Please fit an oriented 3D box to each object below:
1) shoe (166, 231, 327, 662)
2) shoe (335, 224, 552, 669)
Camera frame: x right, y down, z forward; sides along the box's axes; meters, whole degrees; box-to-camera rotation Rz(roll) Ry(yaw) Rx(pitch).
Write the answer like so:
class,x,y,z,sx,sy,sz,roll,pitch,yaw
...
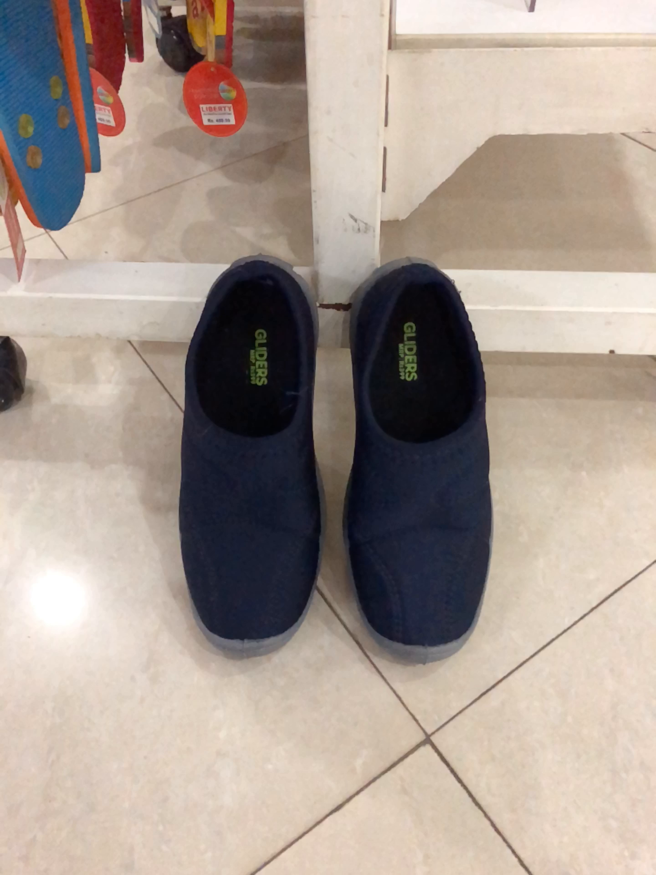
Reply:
class,x,y,z,sx,sy,sz,roll,pitch,yaw
shoe,-0.096,0.014,0.871,0.160,0.200,0.461,-2,78,-3
shoe,0.122,0.016,0.905,0.186,0.207,0.490,-4,77,0
